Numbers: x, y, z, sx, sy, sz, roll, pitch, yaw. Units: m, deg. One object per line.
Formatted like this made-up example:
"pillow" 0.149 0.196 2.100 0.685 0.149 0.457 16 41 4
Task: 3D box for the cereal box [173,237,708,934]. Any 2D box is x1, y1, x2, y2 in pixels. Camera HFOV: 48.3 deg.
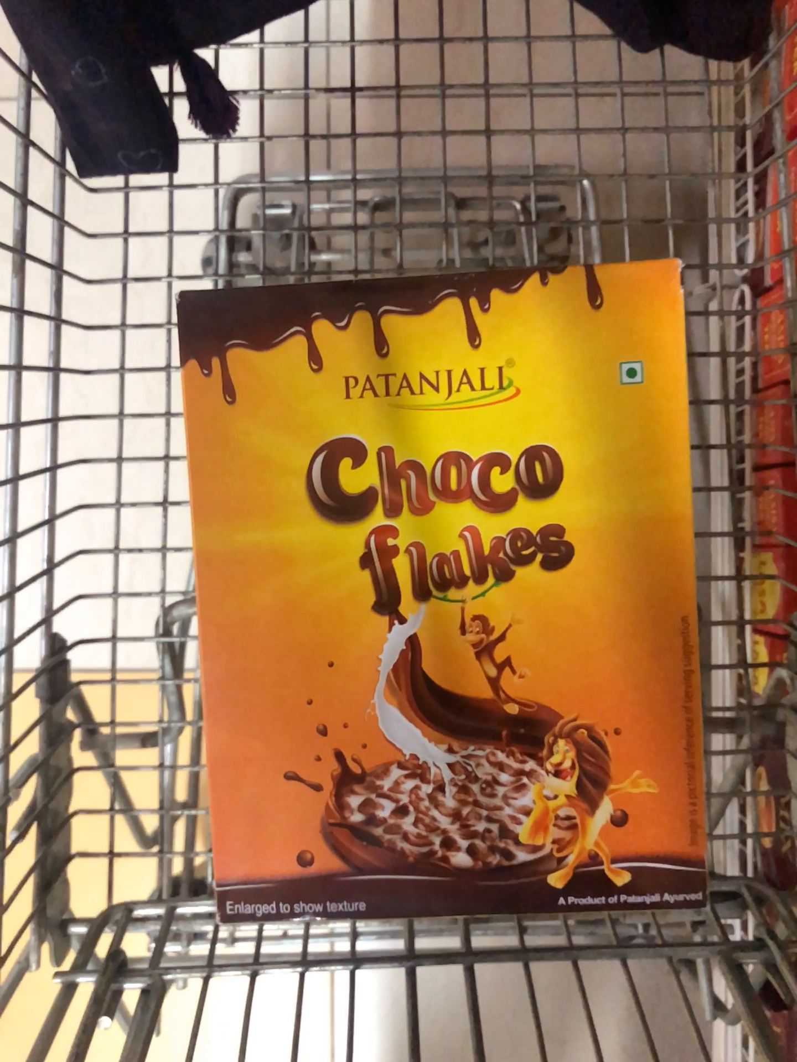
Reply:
"cereal box" 0.017 0.019 0.358 0.170 0.110 0.230 -3 92 2
